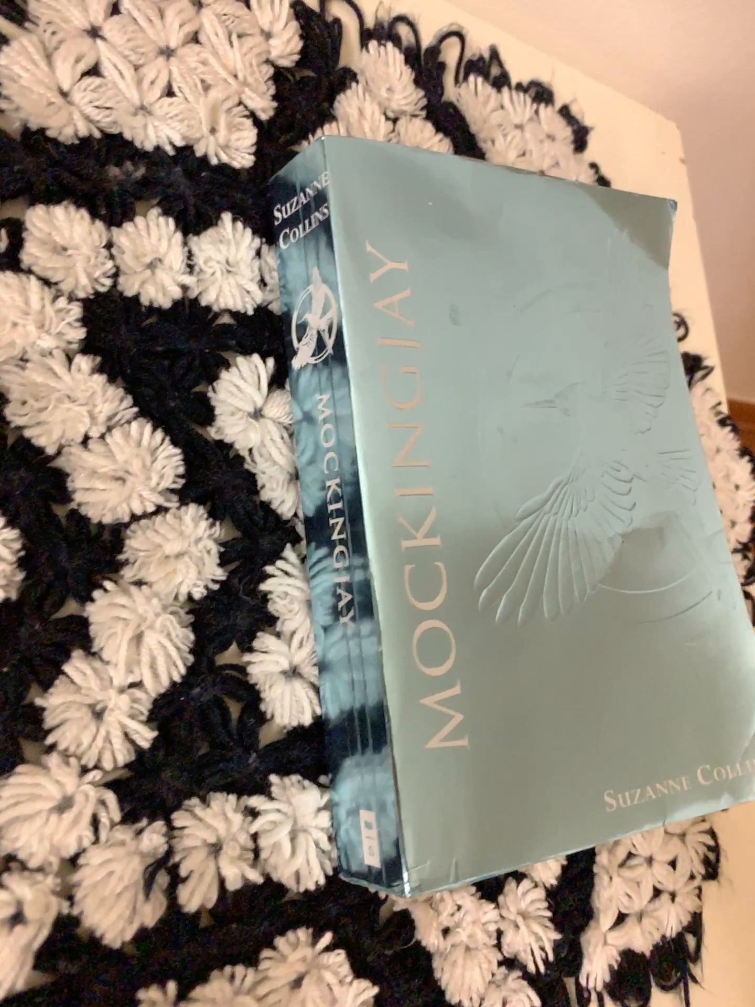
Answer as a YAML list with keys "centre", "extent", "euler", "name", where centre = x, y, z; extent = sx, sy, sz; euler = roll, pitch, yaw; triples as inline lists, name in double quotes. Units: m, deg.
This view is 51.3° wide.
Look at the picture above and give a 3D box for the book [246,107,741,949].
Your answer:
- centre: [0.039, 0.001, 0.234]
  extent: [0.137, 0.036, 0.193]
  euler: [-1, 81, -37]
  name: "book"
